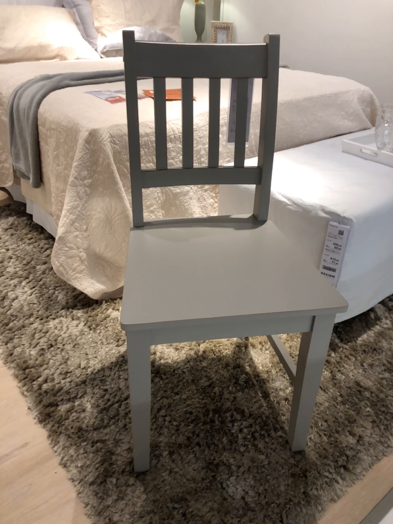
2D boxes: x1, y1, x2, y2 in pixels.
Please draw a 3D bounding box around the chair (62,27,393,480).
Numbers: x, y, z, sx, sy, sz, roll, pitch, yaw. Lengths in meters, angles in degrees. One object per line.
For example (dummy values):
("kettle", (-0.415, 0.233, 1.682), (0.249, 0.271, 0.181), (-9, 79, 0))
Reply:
("chair", (0.010, -0.042, 0.980), (0.480, 0.824, 0.534), (-4, 31, -11))
